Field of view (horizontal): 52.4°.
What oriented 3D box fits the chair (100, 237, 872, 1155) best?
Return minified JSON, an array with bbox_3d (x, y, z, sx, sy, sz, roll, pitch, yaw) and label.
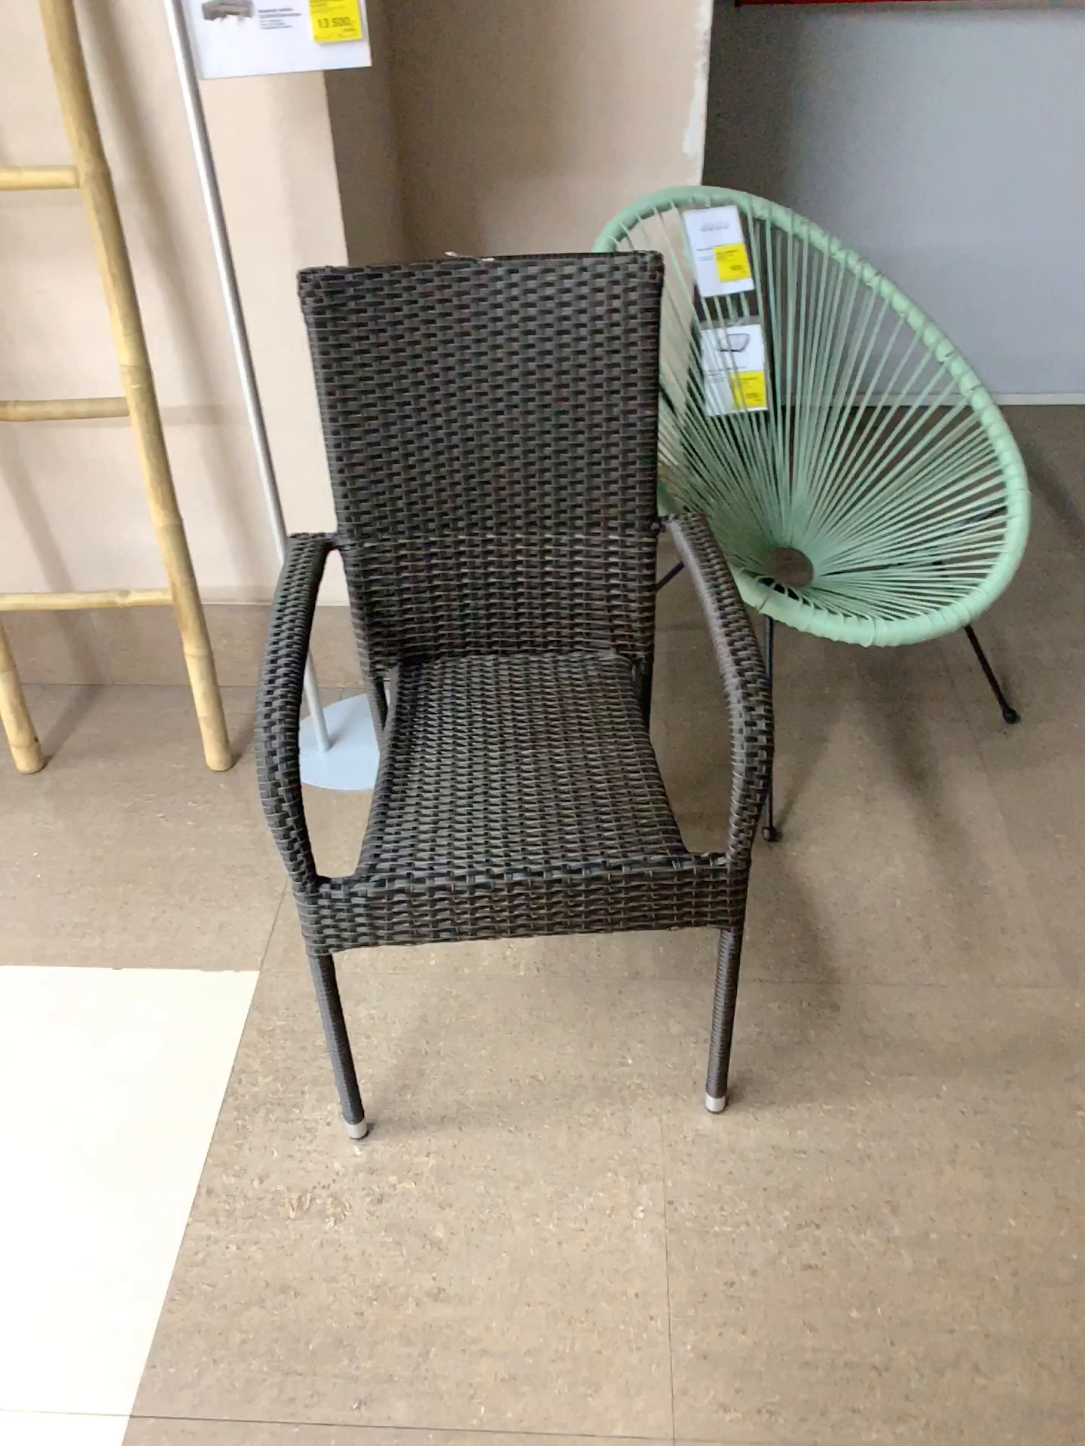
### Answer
[{"bbox_3d":[-0.049,-0.021,1.453,0.620,0.955,0.683,-3,40,-2],"label":"chair"}]
